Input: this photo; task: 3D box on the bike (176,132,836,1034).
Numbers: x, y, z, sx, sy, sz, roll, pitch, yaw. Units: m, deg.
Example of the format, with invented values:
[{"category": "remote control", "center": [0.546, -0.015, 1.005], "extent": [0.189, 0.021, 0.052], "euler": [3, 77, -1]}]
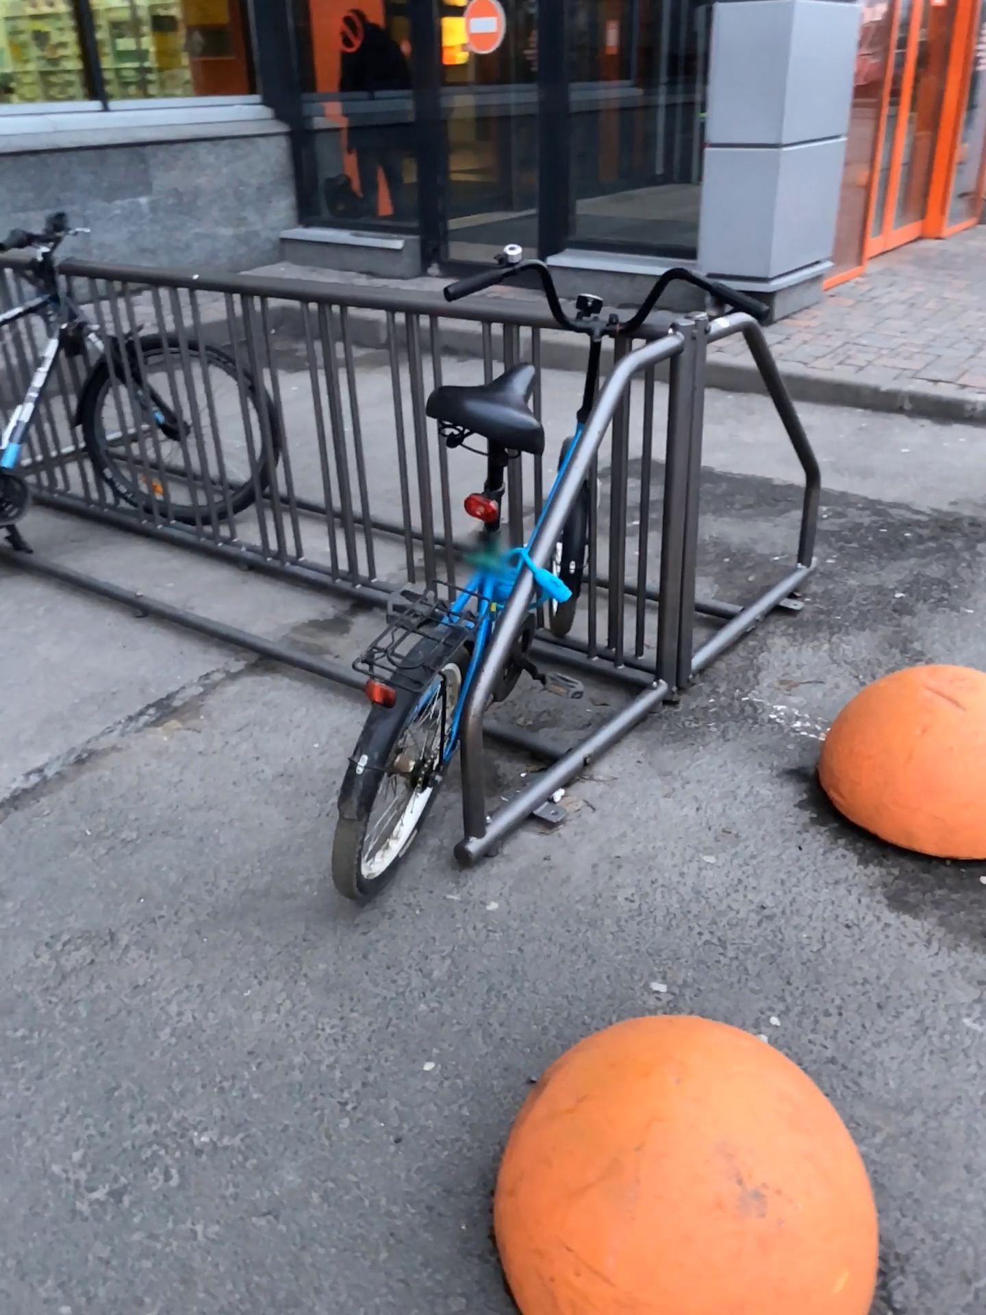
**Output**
[{"category": "bike", "center": [0.167, -0.309, 2.101], "extent": [0.723, 0.991, 1.429], "euler": [8, 35, 17]}]
